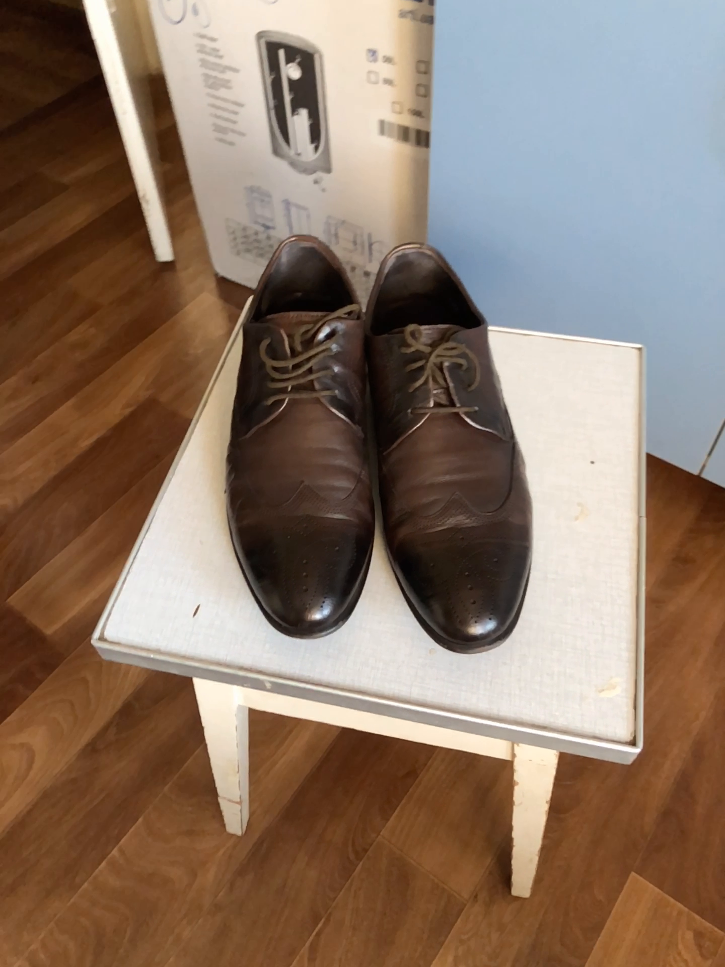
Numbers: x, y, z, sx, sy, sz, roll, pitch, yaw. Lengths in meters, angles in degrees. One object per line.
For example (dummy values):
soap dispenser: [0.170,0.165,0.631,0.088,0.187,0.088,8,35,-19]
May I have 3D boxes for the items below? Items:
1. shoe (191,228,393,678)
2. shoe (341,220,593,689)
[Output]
shoe: [-0.045,-0.034,0.524,0.100,0.099,0.292,-5,53,-2]
shoe: [0.048,-0.033,0.502,0.100,0.099,0.292,-5,53,-2]
